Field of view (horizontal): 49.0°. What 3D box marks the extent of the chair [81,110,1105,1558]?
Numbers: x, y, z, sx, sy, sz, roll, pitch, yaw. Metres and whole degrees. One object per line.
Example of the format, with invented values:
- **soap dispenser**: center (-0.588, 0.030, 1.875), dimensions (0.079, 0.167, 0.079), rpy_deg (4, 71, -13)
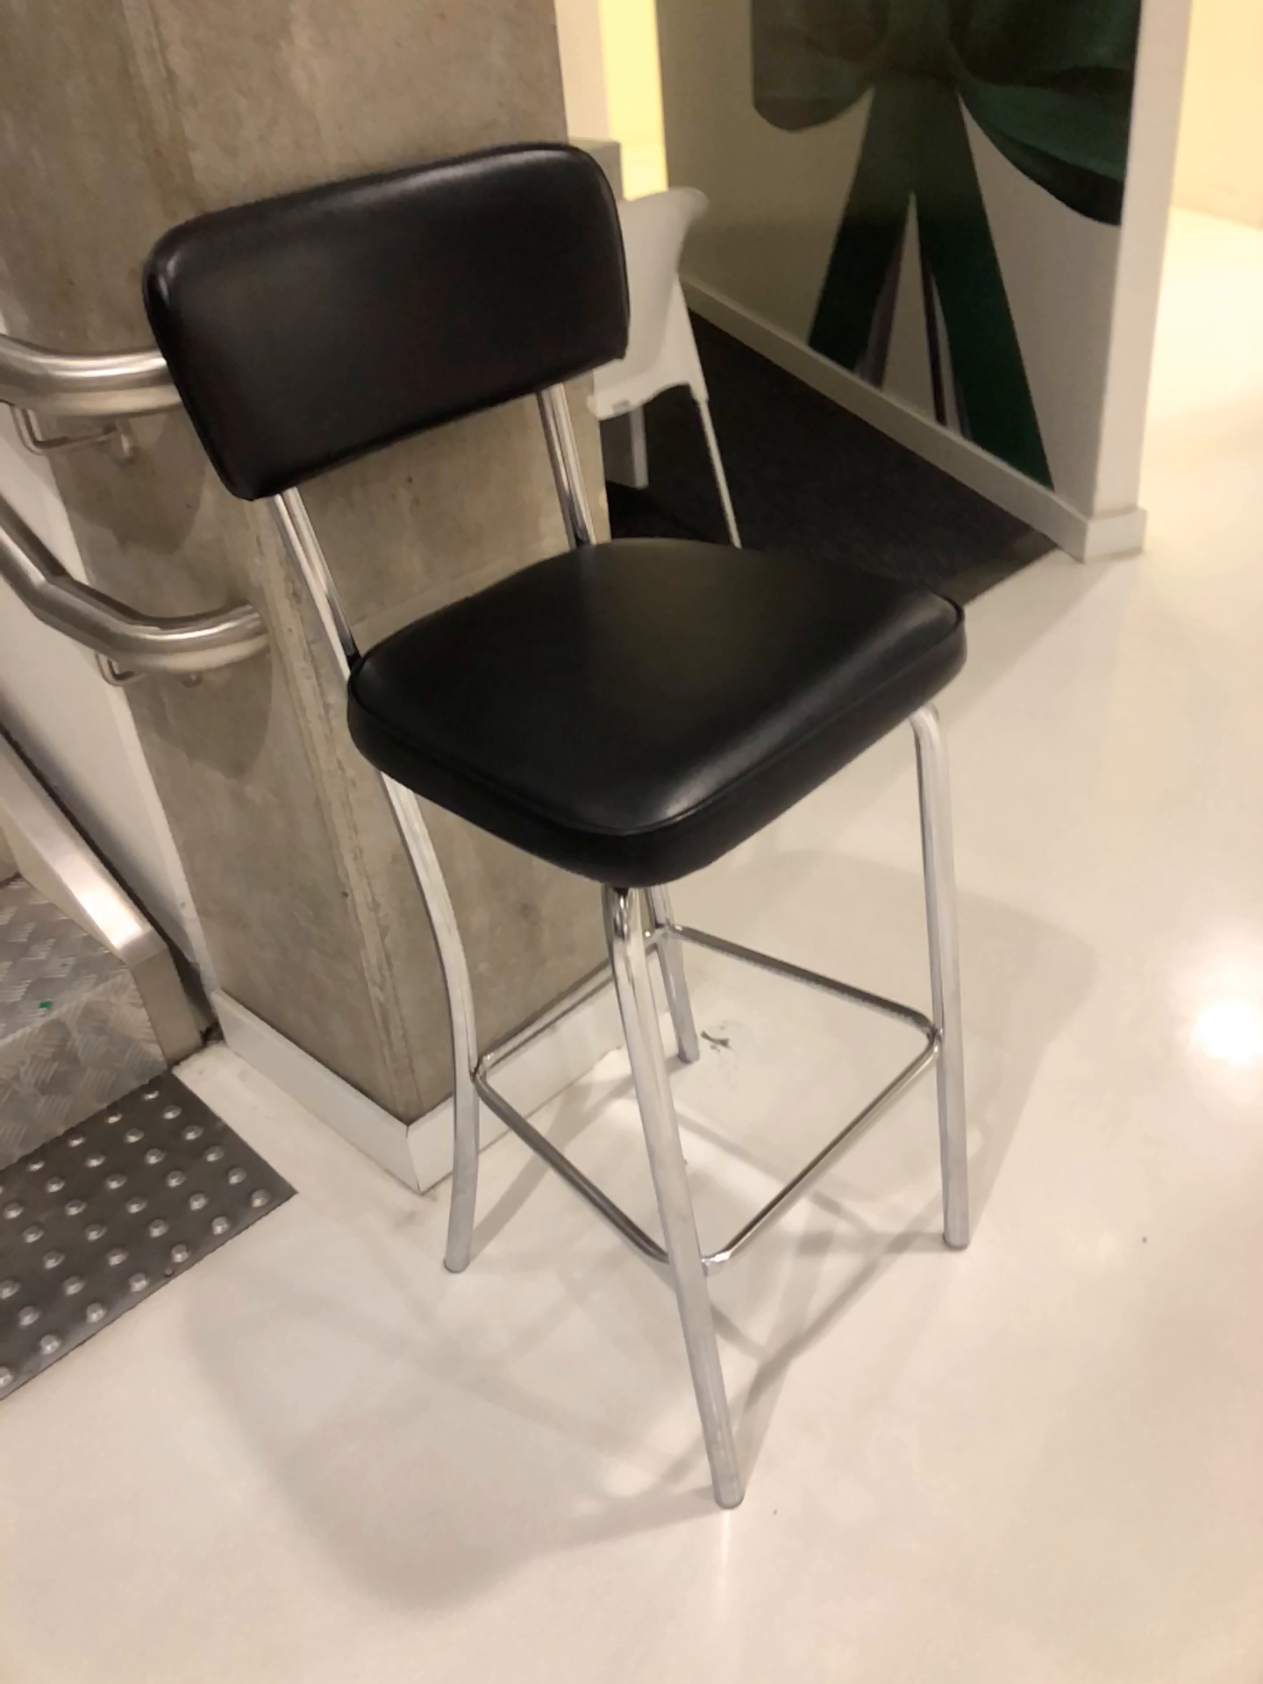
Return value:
- **chair**: center (0.017, -0.002, 1.119), dimensions (0.442, 0.982, 0.452), rpy_deg (25, 45, 38)
